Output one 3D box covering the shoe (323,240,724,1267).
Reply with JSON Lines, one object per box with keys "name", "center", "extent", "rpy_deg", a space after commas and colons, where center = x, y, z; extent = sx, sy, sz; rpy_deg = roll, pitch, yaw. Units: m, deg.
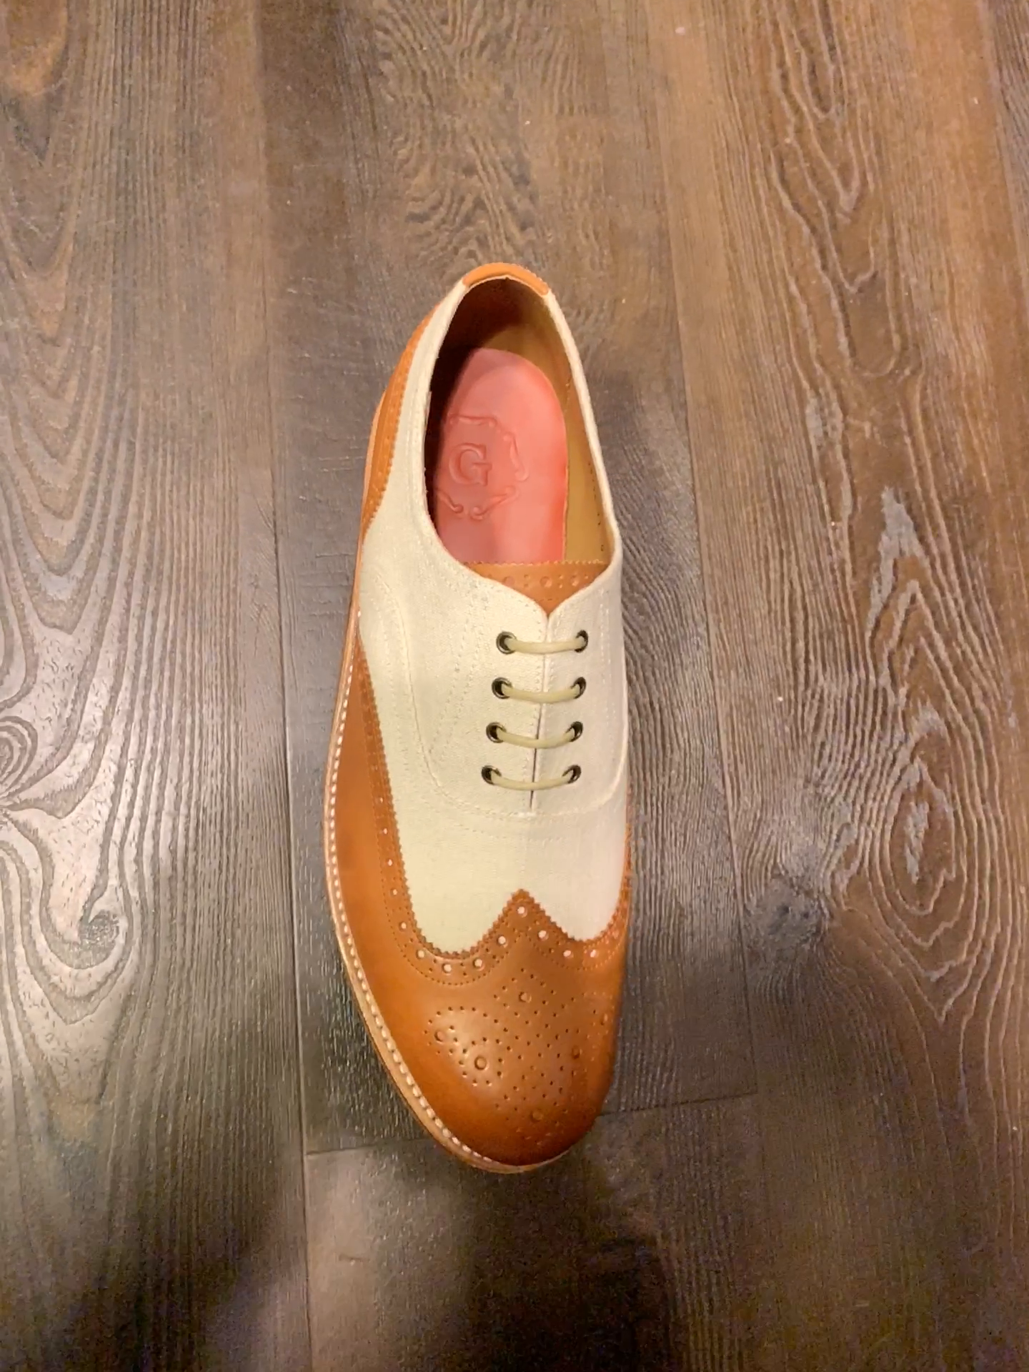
{"name": "shoe", "center": [-0.010, 0.017, 0.377], "extent": [0.110, 0.120, 0.300], "rpy_deg": [0, 81, -11]}
